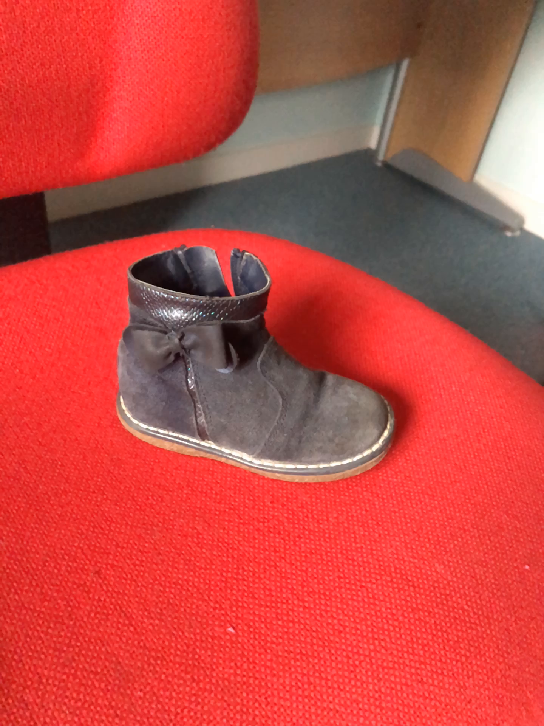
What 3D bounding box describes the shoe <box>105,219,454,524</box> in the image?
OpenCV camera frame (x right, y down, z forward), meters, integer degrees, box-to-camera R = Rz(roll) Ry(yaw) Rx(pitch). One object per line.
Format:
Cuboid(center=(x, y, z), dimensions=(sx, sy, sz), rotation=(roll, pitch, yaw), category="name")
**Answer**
Cuboid(center=(0.002, 0.004, 0.314), dimensions=(0.150, 0.099, 0.081), rotation=(13, 40, 2), category="shoe")
